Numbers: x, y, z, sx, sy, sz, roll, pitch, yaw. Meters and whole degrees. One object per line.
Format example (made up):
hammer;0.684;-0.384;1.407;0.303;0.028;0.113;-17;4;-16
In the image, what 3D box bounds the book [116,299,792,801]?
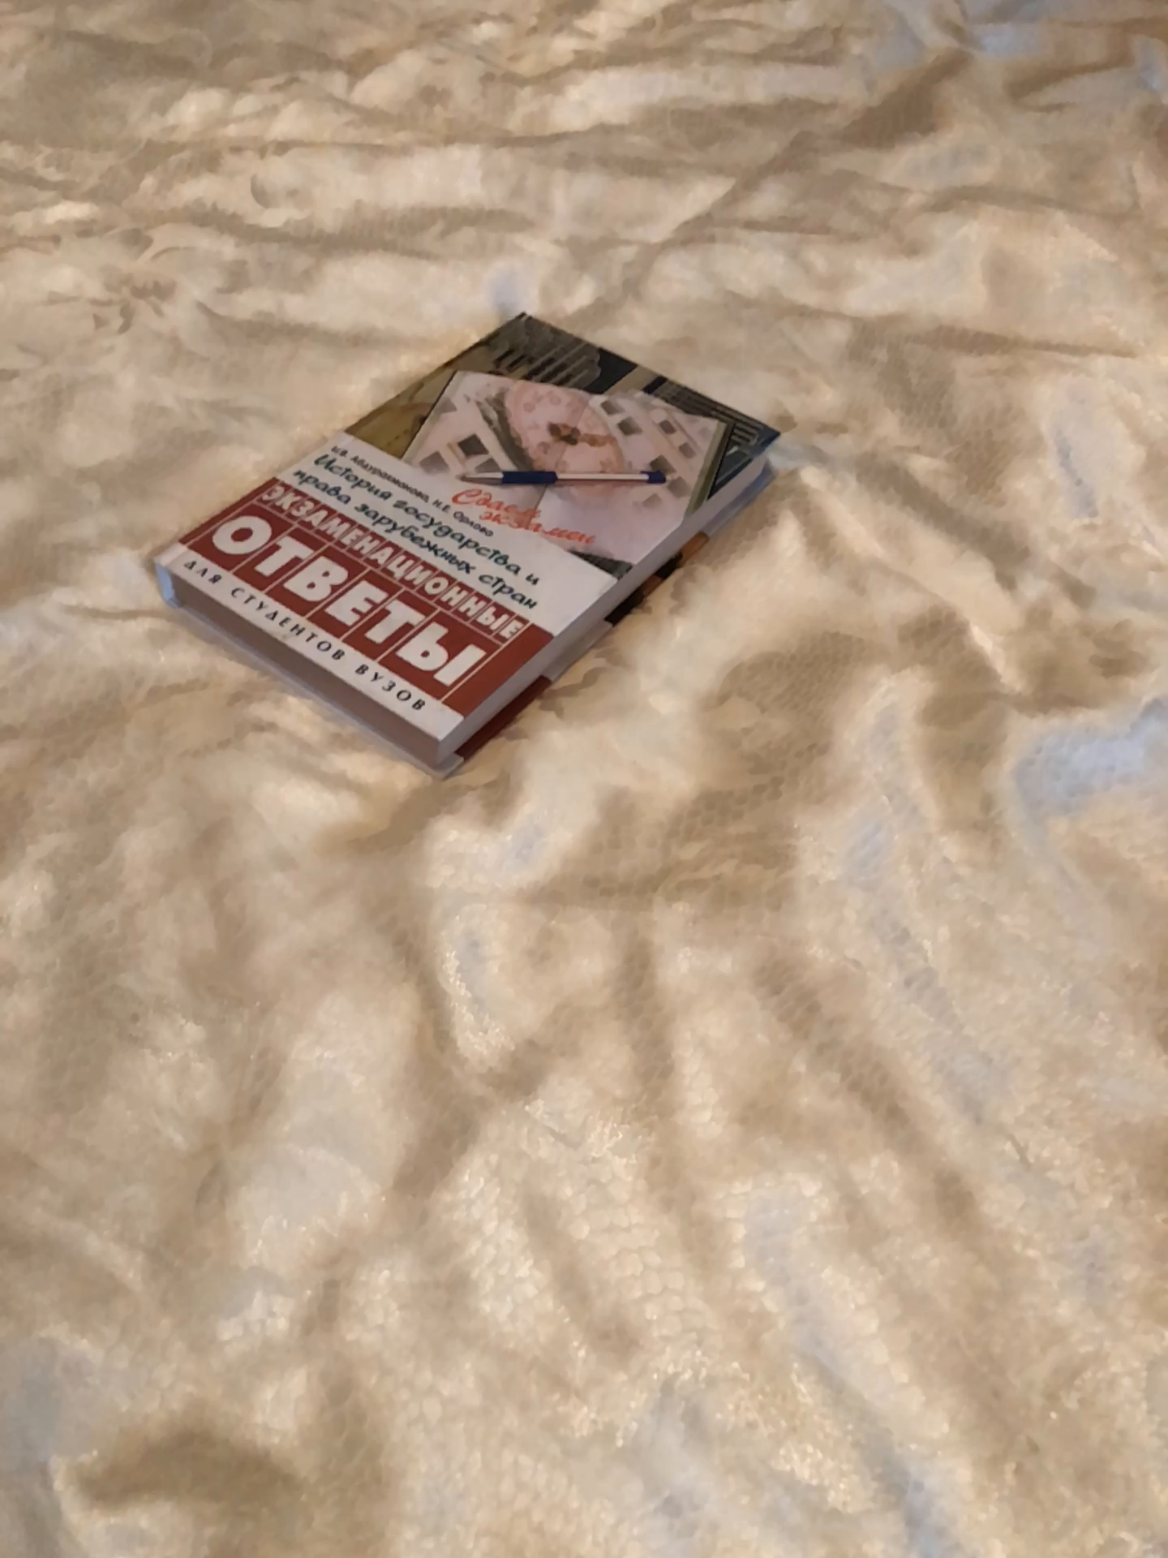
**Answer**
book;-0.042;-0.102;0.492;0.150;0.030;0.211;32;56;22
